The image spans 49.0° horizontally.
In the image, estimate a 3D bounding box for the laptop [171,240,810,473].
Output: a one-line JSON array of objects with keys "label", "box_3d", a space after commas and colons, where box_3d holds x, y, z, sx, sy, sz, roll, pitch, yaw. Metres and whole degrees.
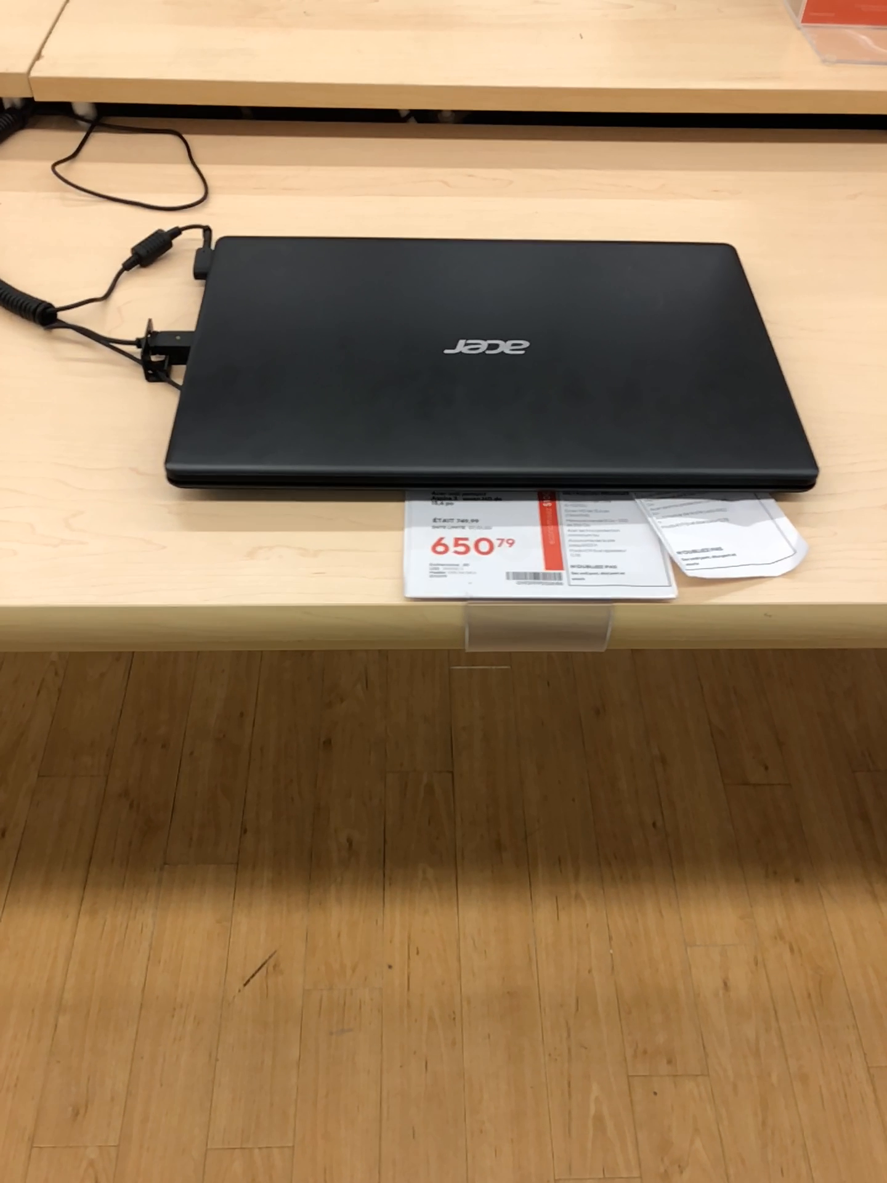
[{"label": "laptop", "box_3d": [0.028, -0.149, 0.592, 0.346, 0.003, 0.213, 0, 52, -4]}]
